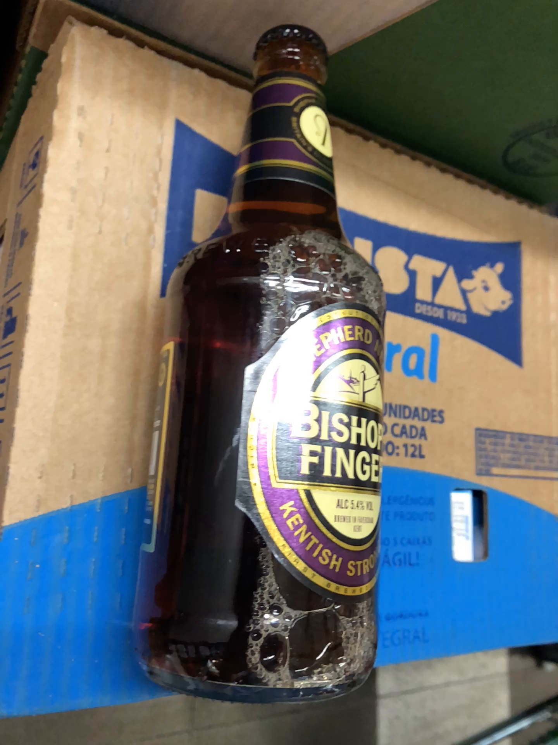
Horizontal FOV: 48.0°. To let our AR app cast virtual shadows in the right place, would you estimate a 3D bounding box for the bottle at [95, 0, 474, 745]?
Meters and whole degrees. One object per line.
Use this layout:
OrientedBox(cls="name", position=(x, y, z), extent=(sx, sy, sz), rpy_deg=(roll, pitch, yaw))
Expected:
OrientedBox(cls="bottle", position=(0.004, -0.027, 0.202), extent=(0.080, 0.070, 0.250), rpy_deg=(10, 75, -32))
